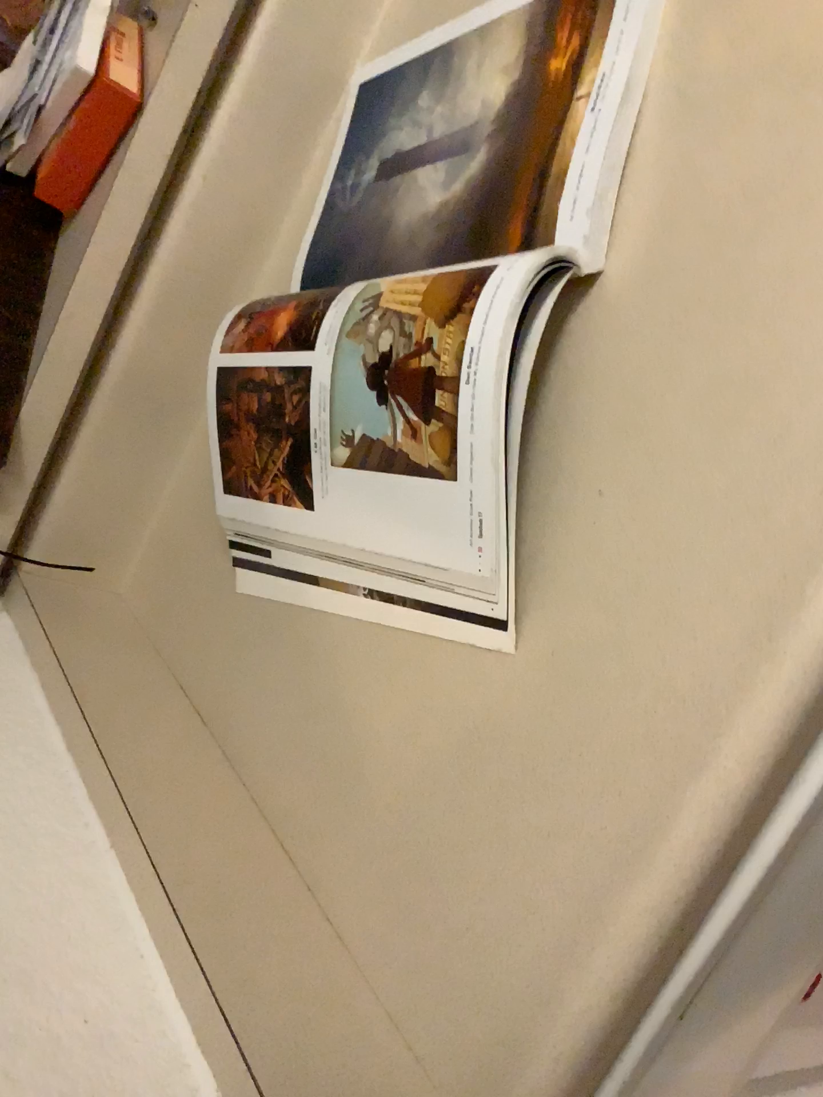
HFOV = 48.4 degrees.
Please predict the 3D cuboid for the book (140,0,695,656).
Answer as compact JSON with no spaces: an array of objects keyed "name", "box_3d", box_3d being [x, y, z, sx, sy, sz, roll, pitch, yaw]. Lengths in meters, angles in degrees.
[{"name":"book","box_3d":[-0.019,-0.182,0.607,0.320,0.070,0.450,7,81,49]}]
